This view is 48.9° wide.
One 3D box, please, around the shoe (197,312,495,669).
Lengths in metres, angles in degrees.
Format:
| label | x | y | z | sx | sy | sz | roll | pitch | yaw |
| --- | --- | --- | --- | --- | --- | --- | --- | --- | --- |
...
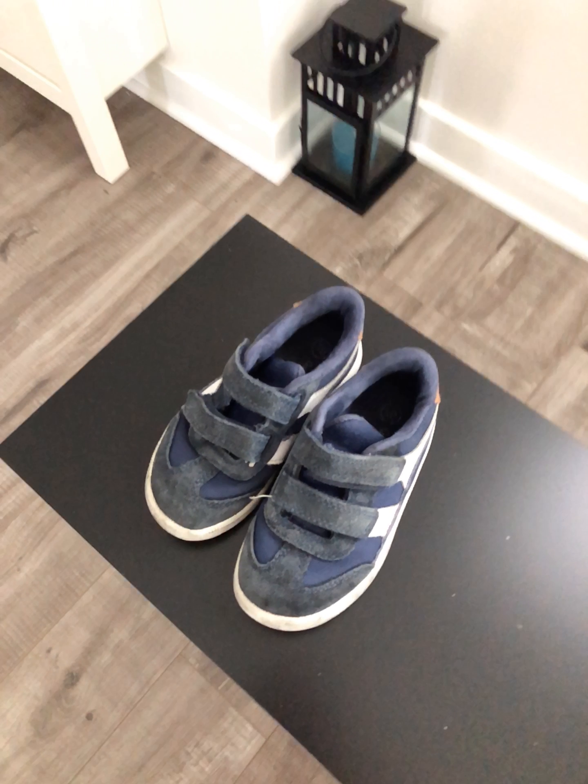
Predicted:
| label | x | y | z | sx | sy | sz | roll | pitch | yaw |
| --- | --- | --- | --- | --- | --- | --- | --- | --- | --- |
| shoe | 0.034 | 0.057 | 0.392 | 0.088 | 0.068 | 0.185 | 28 | 71 | 13 |

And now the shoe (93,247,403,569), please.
| label | x | y | z | sx | sy | sz | roll | pitch | yaw |
| --- | --- | --- | --- | --- | --- | --- | --- | --- | --- |
| shoe | -0.023 | 0.009 | 0.414 | 0.082 | 0.068 | 0.185 | 37 | 73 | 16 |
